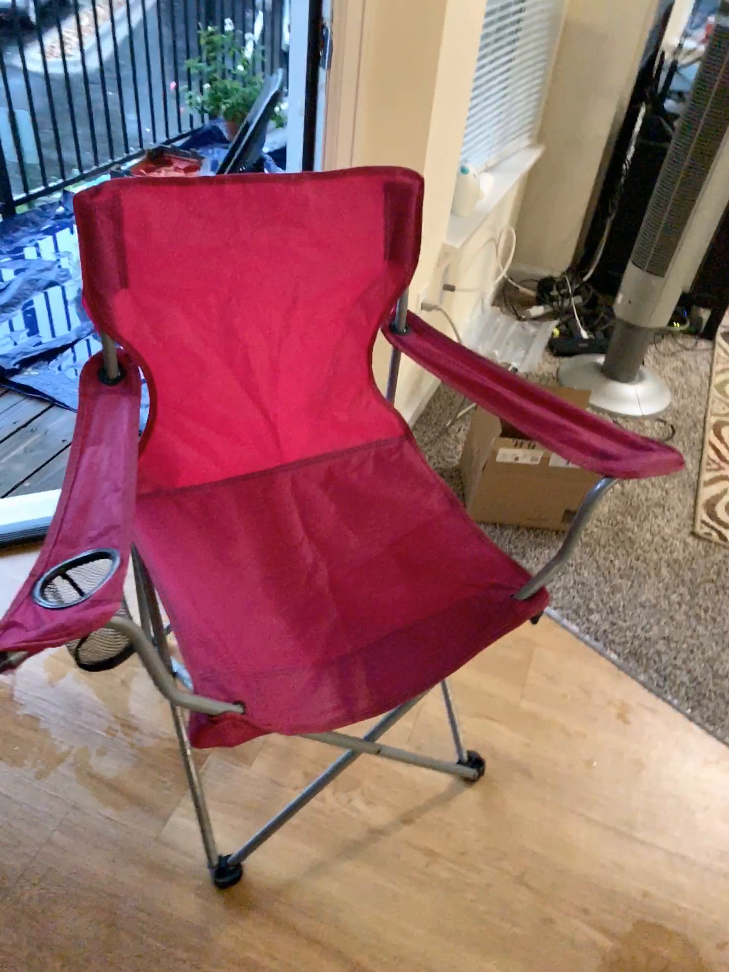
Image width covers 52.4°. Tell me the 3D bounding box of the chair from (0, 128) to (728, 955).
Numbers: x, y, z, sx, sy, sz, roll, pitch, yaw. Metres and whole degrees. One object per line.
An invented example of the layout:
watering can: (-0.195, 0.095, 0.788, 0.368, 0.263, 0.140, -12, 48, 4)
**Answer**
chair: (-0.070, 0.021, 1.026, 0.651, 0.776, 0.673, -11, 43, -21)
